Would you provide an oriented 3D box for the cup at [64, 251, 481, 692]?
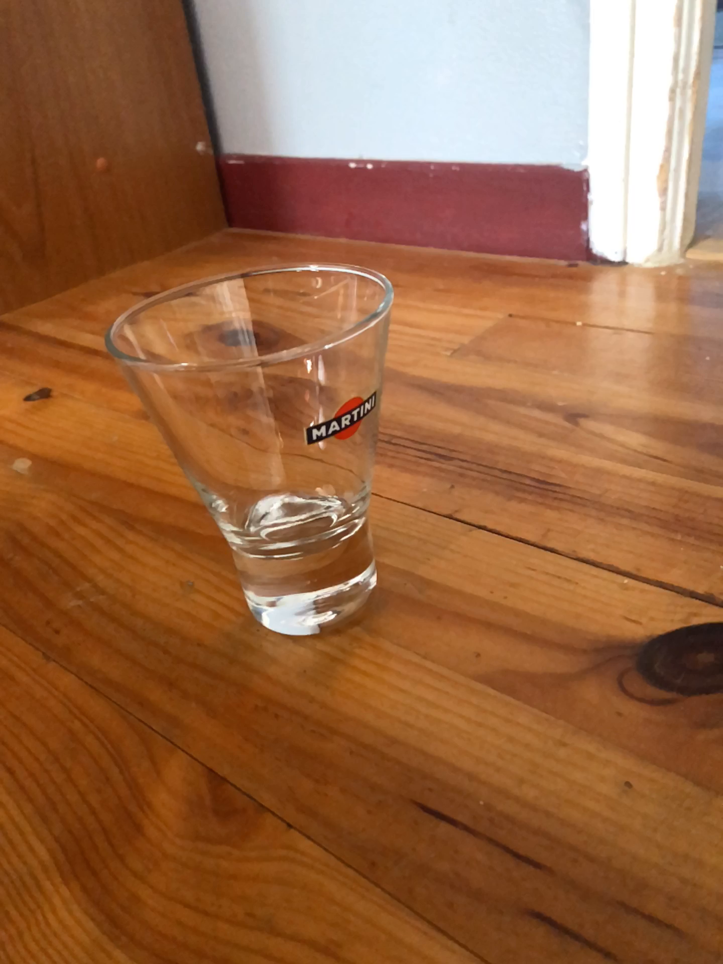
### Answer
[{"bbox_3d":[-0.025,-0.012,0.270,0.092,0.097,0.088,-5,32,3],"label":"cup"}]
